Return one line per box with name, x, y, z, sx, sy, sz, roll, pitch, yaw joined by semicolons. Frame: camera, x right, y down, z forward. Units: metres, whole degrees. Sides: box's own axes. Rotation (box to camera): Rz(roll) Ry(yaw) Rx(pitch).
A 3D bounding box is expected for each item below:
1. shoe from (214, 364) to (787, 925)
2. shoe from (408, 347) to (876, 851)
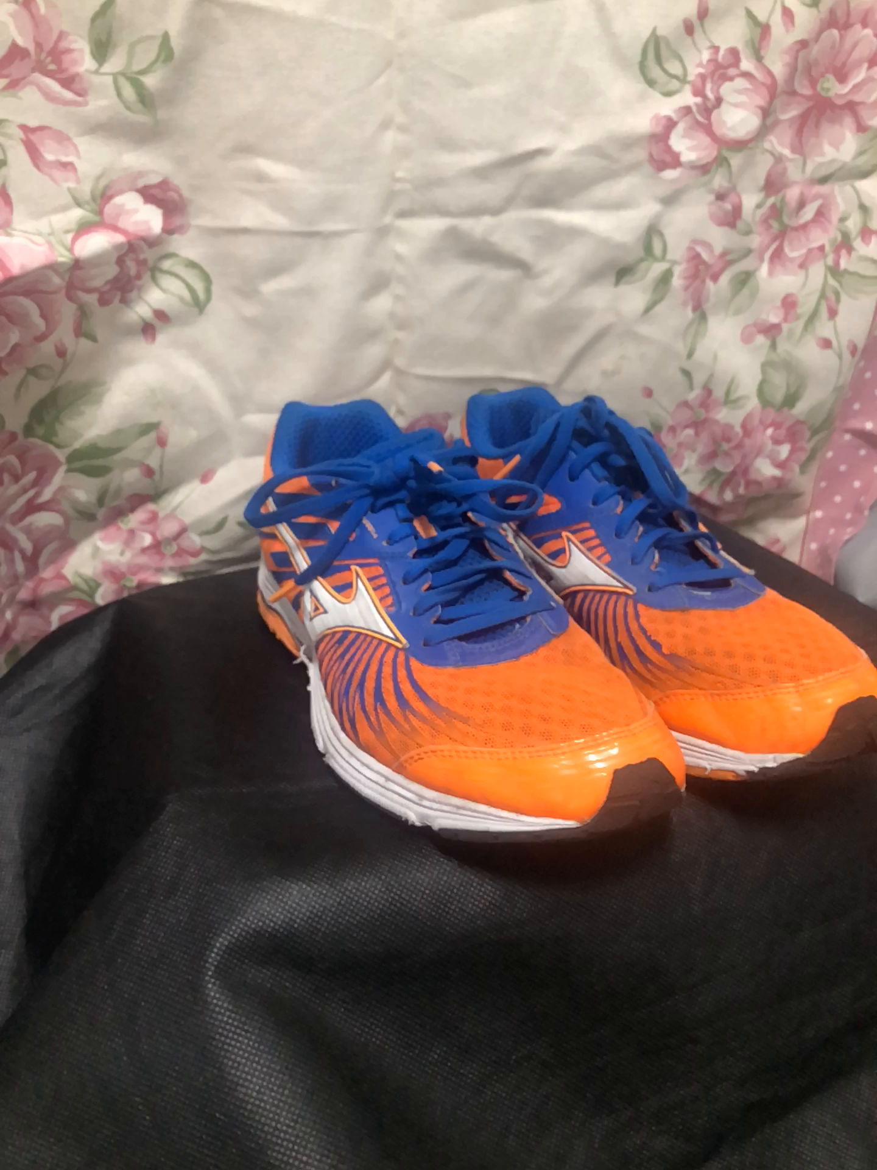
shoe;0.001;-0.004;0.368;0.110;0.109;0.222;-10;26;-24
shoe;0.084;-0.018;0.393;0.110;0.109;0.222;-10;26;-24
